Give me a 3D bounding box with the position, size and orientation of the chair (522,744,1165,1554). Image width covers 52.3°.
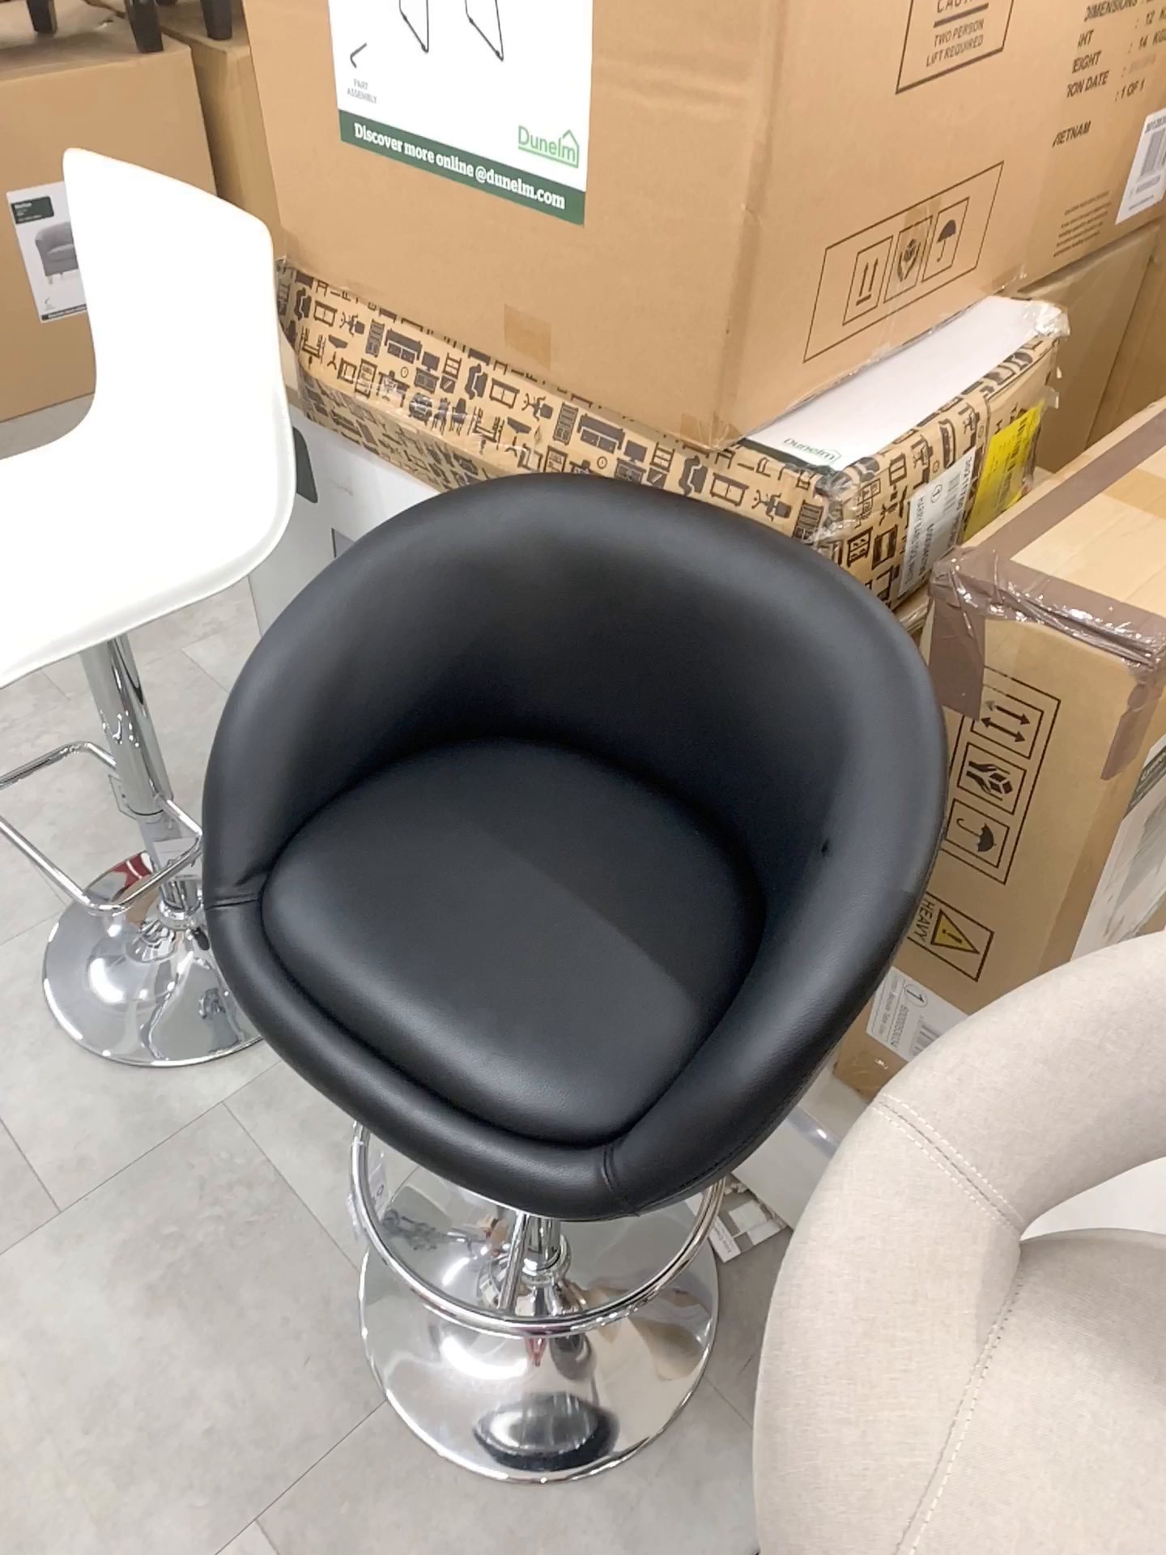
[{"bbox_3d":[0.279,0.529,0.698,0.446,0.918,0.432,30,51,26],"label":"chair"}]

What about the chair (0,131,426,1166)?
[{"bbox_3d":[-0.520,-0.097,1.309,0.446,0.948,0.442,30,51,26],"label":"chair"}]

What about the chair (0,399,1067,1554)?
[{"bbox_3d":[-0.047,0.243,0.996,0.476,0.869,0.442,33,52,28],"label":"chair"}]
